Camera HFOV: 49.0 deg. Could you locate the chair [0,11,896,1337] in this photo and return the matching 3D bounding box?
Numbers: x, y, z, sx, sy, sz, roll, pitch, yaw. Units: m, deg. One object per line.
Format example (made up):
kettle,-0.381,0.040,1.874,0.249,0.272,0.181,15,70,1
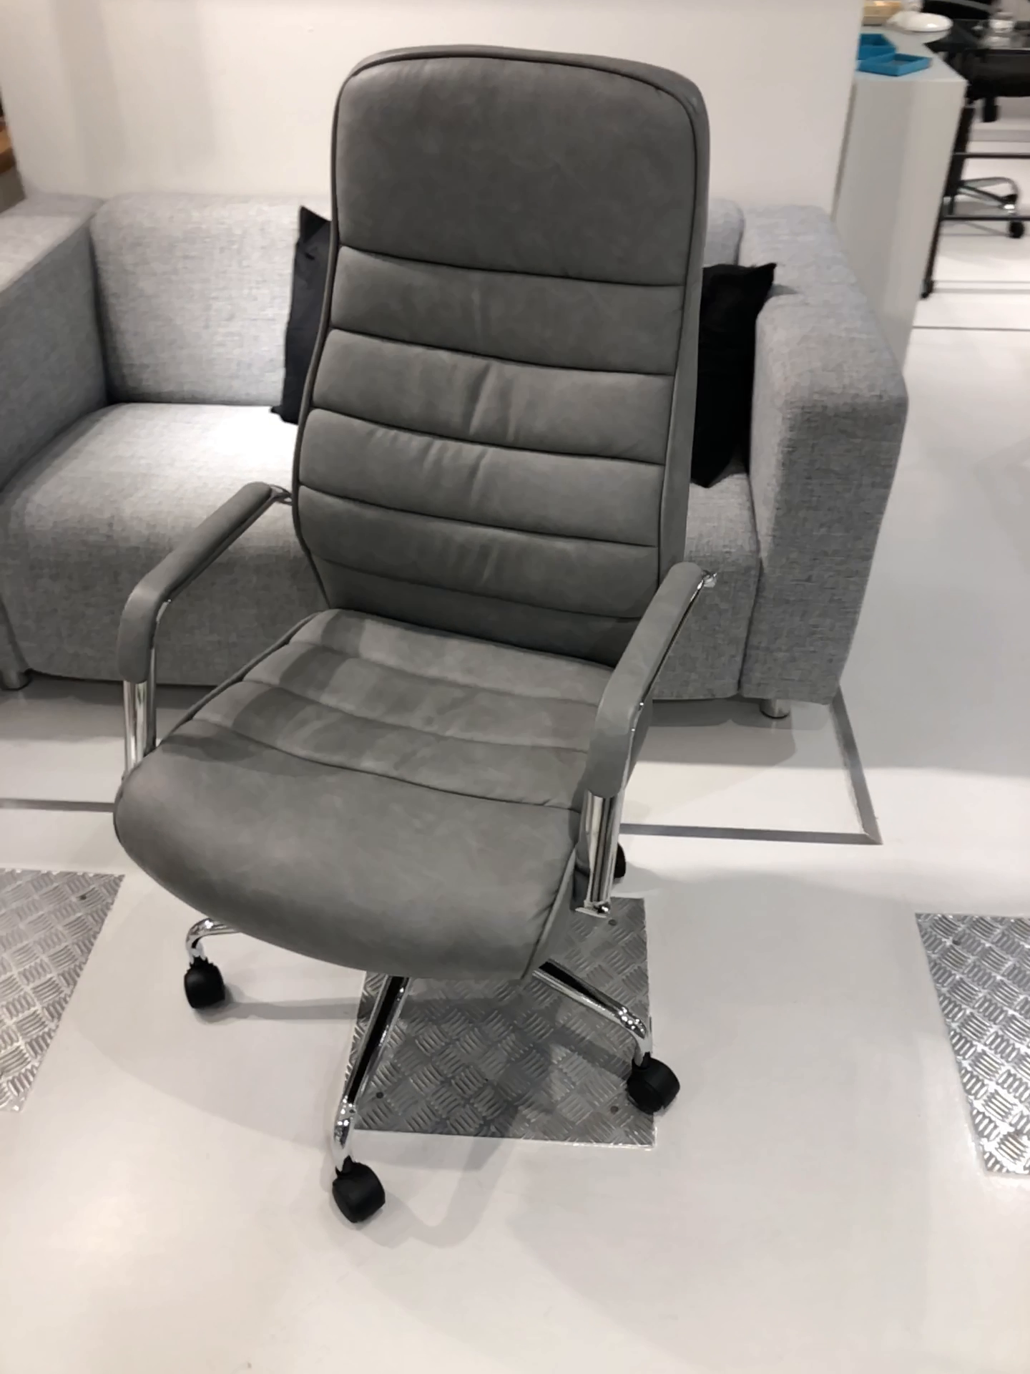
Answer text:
chair,-0.107,-0.038,1.196,0.720,1.052,0.725,12,40,16
